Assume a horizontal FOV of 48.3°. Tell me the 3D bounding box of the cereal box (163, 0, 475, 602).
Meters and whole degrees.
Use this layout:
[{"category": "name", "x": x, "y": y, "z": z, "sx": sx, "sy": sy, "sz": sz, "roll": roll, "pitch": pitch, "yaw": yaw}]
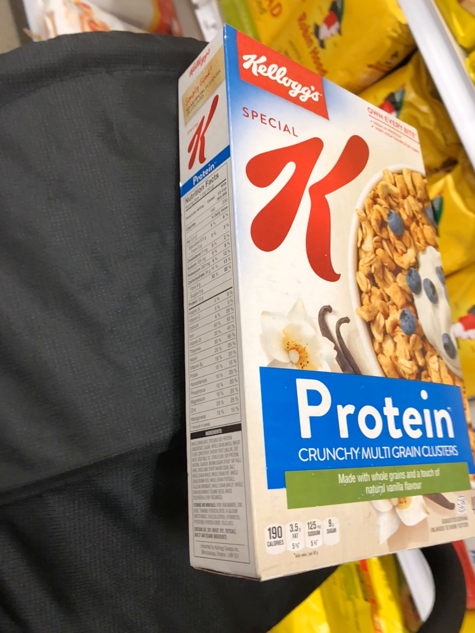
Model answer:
[{"category": "cereal box", "x": 0.058, "y": -0.013, "z": 0.291, "sx": 0.191, "sy": 0.050, "sz": 0.270, "roll": 10, "pitch": 67, "yaw": -35}]
